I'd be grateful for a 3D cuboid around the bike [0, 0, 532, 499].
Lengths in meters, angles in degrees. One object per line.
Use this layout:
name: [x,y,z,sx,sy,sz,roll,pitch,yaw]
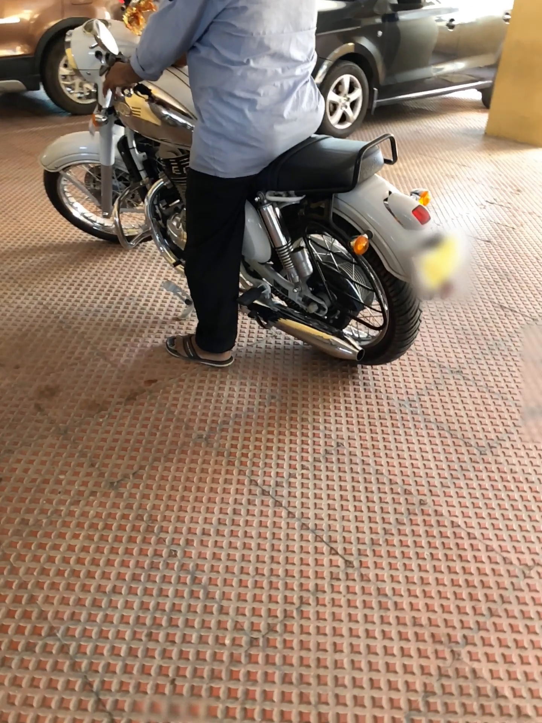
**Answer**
bike: [-0.408,-0.648,2.032,1.899,1.233,0.849,25,40,29]
